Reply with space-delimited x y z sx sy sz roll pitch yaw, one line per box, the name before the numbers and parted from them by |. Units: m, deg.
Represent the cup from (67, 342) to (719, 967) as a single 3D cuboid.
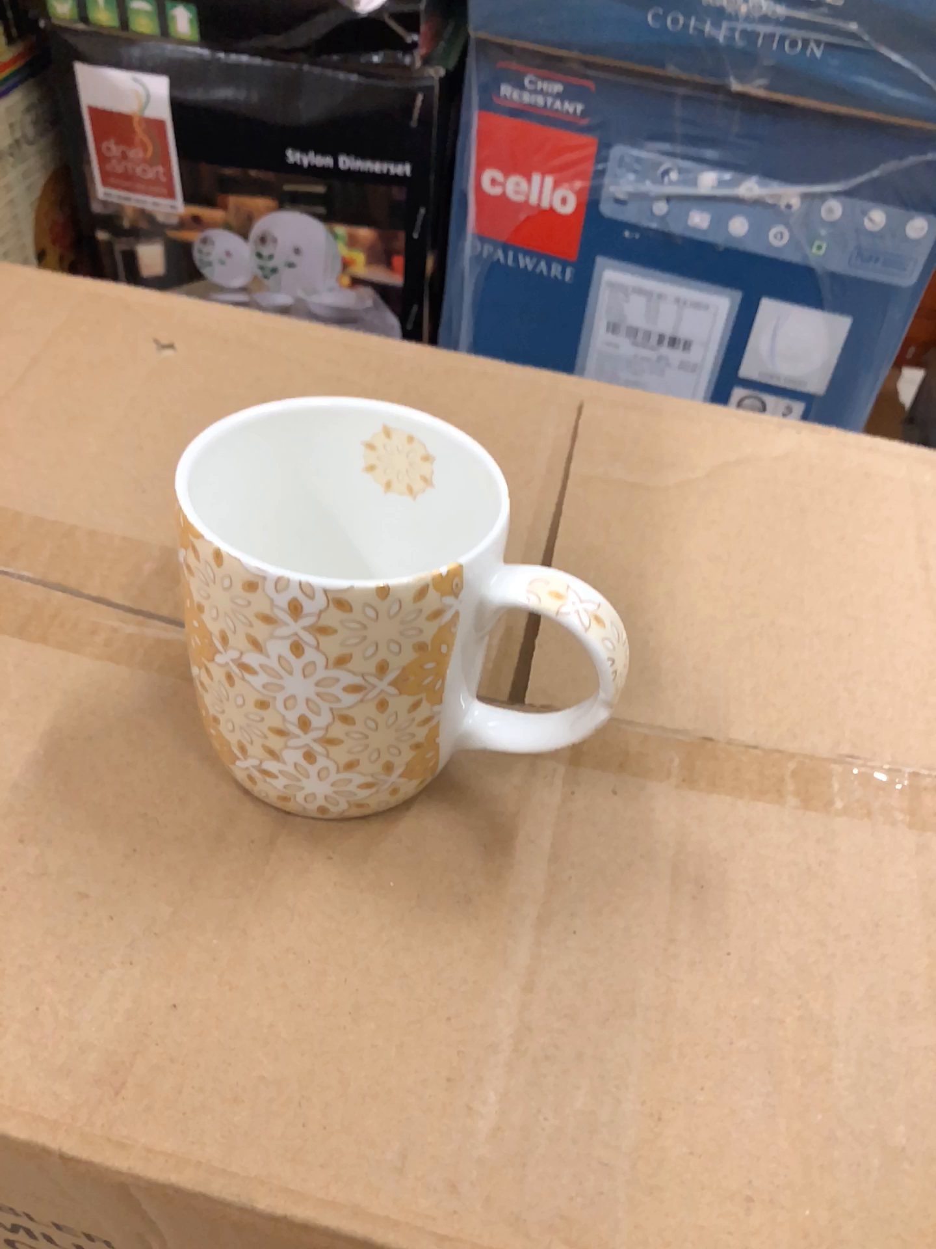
cup | -0.017 0.004 0.258 0.120 0.089 0.081 20 43 11
